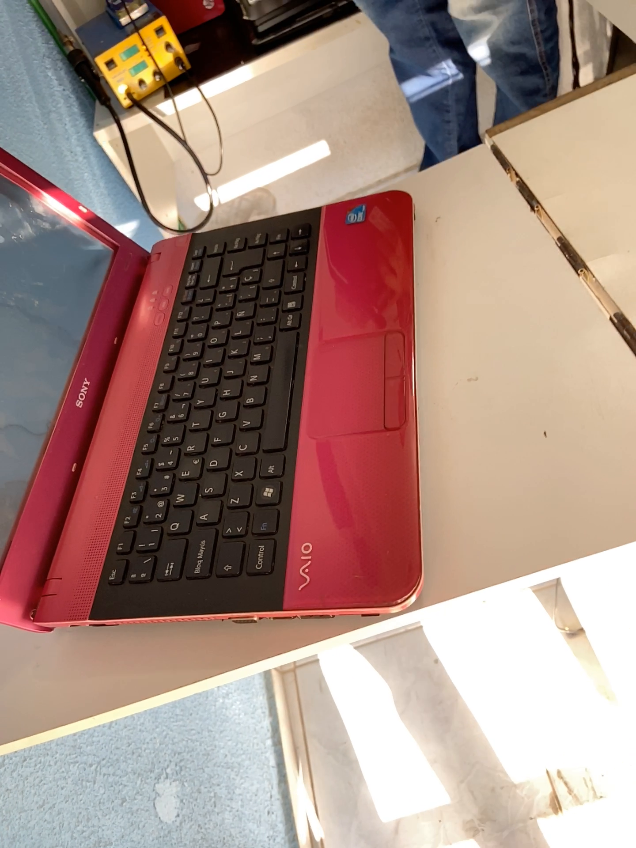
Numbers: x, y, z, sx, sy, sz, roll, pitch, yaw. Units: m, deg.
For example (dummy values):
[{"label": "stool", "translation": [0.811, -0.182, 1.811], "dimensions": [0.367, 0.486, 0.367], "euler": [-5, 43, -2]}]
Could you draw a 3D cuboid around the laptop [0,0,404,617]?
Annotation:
[{"label": "laptop", "translation": [-0.139, -0.080, 0.405], "dimensions": [0.339, 0.188, 0.332], "euler": [-7, 54, 18]}]
